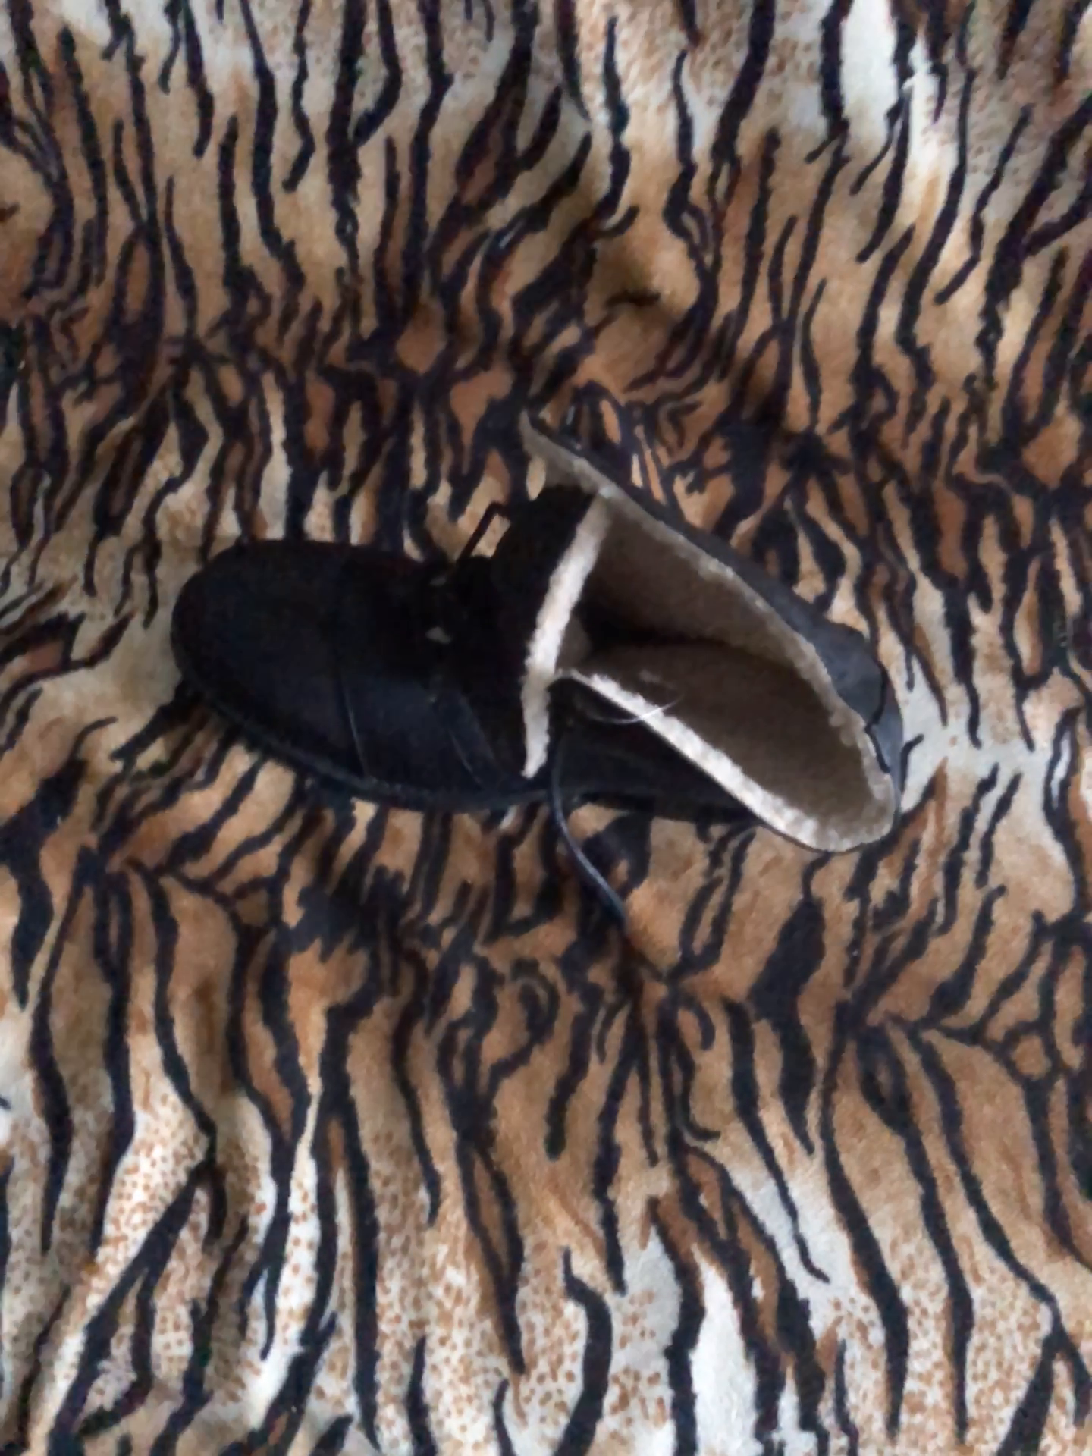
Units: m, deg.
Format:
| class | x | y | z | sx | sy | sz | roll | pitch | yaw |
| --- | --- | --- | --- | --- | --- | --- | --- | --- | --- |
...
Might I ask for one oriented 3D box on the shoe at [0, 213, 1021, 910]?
| class | x | y | z | sx | sy | sz | roll | pitch | yaw |
| --- | --- | --- | --- | --- | --- | --- | --- | --- | --- |
| shoe | -0.010 | -0.054 | 0.501 | 0.330 | 0.200 | 0.140 | 12 | 66 | 4 |
